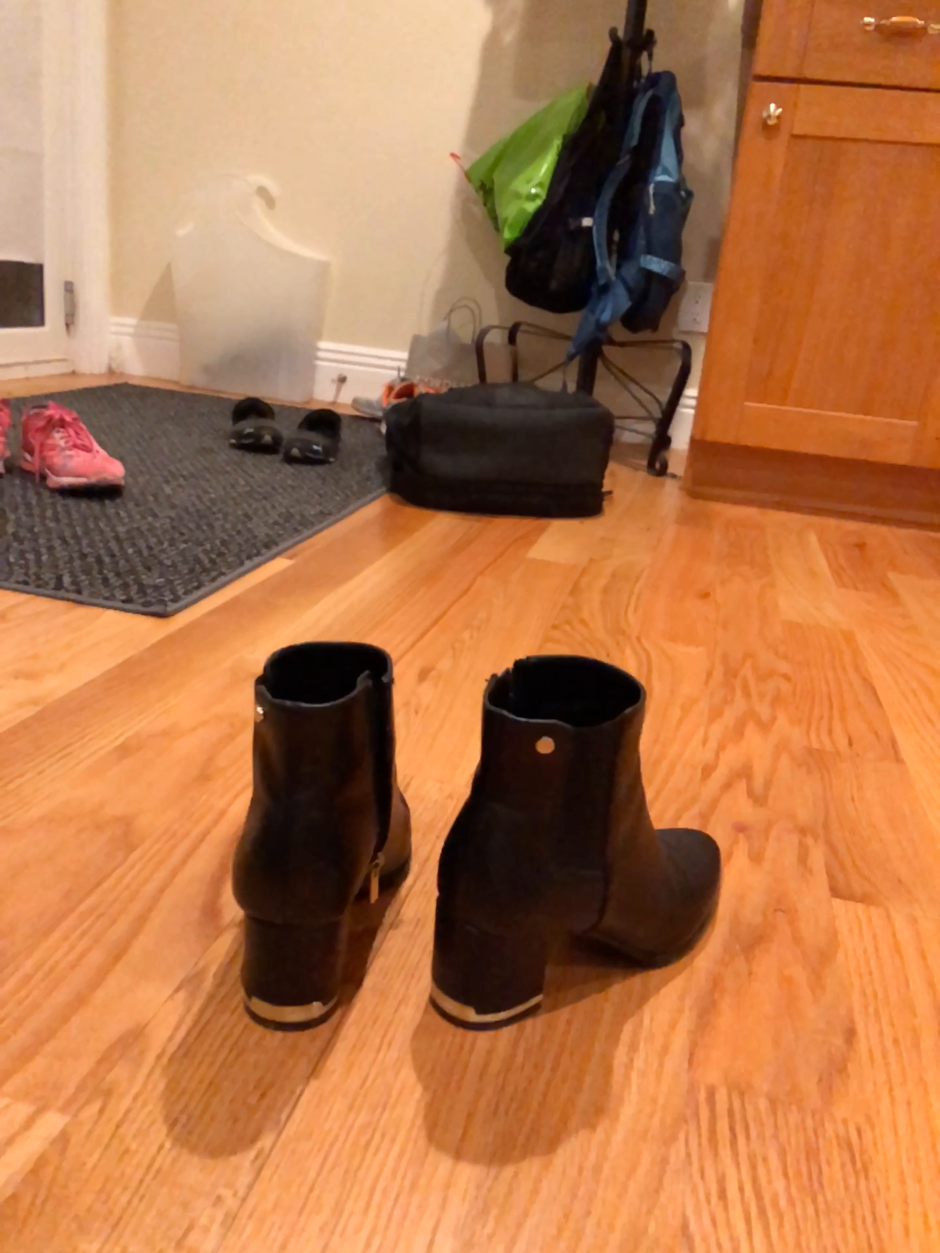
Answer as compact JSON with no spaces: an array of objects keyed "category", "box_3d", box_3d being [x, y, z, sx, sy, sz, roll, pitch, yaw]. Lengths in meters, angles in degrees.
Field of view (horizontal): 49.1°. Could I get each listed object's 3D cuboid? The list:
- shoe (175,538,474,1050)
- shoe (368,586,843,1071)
[{"category":"shoe","box_3d":[-0.067,0.069,0.561,0.095,0.175,0.237,8,18,5]},{"category":"shoe","box_3d":[0.076,0.088,0.549,0.237,0.175,0.095,-10,23,-40]}]
